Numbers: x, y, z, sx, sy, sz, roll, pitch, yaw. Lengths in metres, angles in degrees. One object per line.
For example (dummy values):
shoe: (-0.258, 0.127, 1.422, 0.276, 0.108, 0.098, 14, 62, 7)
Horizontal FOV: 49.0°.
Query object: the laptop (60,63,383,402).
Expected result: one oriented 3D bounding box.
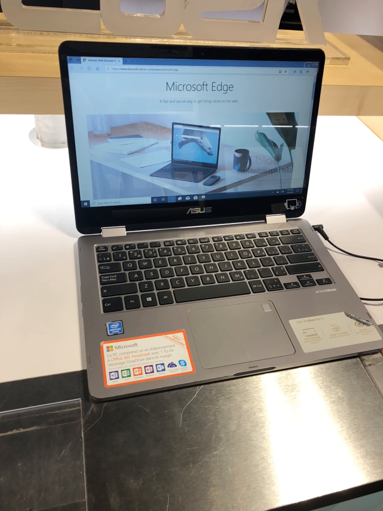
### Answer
laptop: (0.037, -0.052, 0.442, 0.305, 0.212, 0.279, -7, 41, -14)
